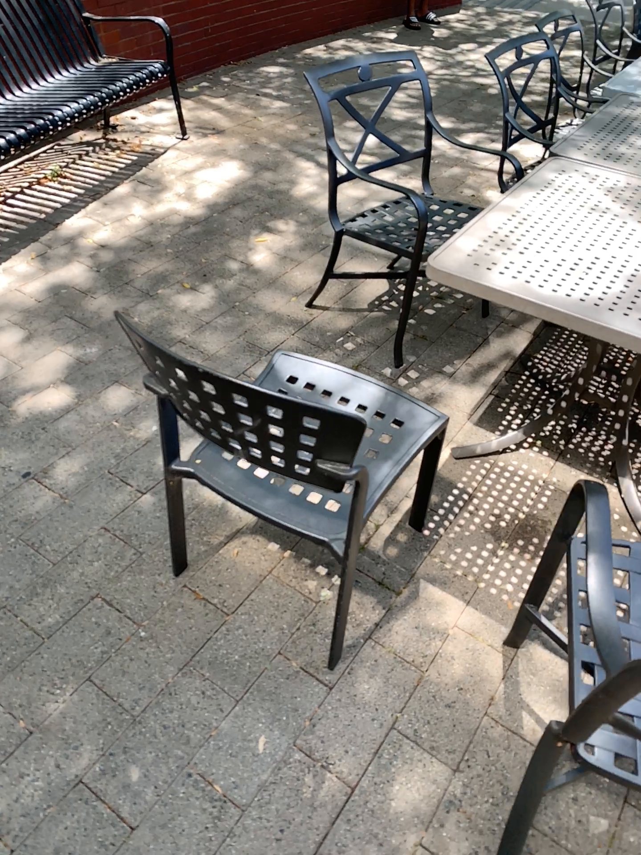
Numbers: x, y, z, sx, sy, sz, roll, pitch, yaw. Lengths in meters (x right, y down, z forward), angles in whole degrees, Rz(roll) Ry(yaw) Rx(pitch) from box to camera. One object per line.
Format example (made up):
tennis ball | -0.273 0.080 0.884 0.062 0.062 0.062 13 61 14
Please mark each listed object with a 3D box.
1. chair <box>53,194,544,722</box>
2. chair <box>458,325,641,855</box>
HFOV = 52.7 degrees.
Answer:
chair | -0.012 0.030 1.382 0.621 0.706 0.652 22 46 21
chair | 0.609 0.389 0.969 0.620 0.756 0.653 11 42 9
